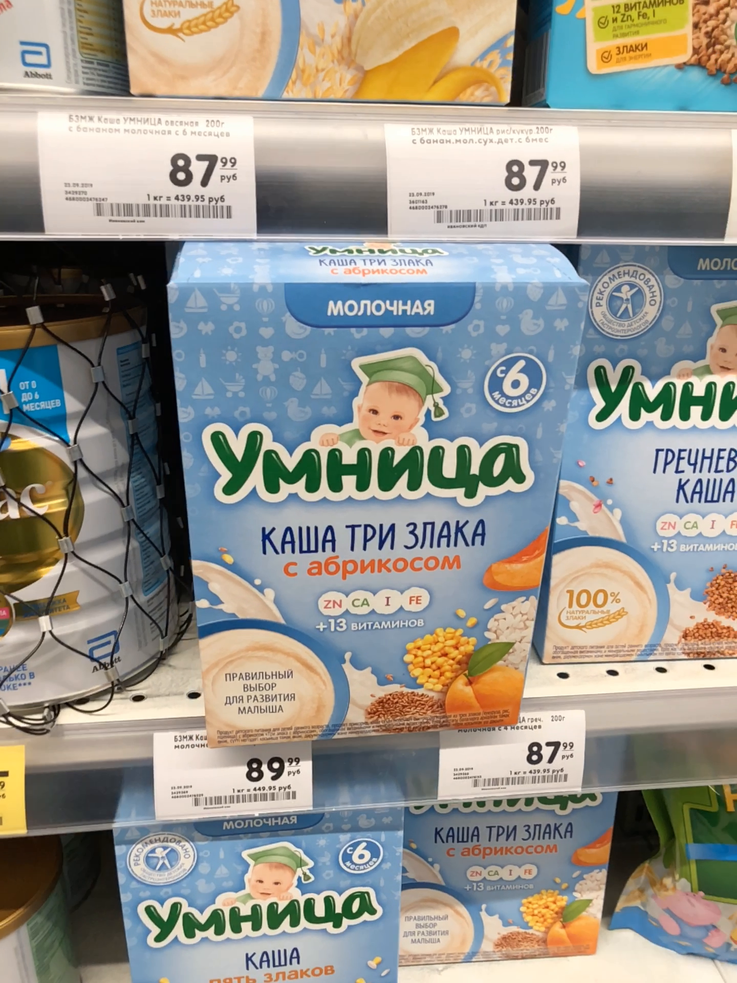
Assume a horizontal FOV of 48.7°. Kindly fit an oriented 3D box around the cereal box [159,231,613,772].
[{"bbox_3d":[0.000,0.011,0.326,0.140,0.209,0.060,-1,30,-7],"label":"cereal box"}]
